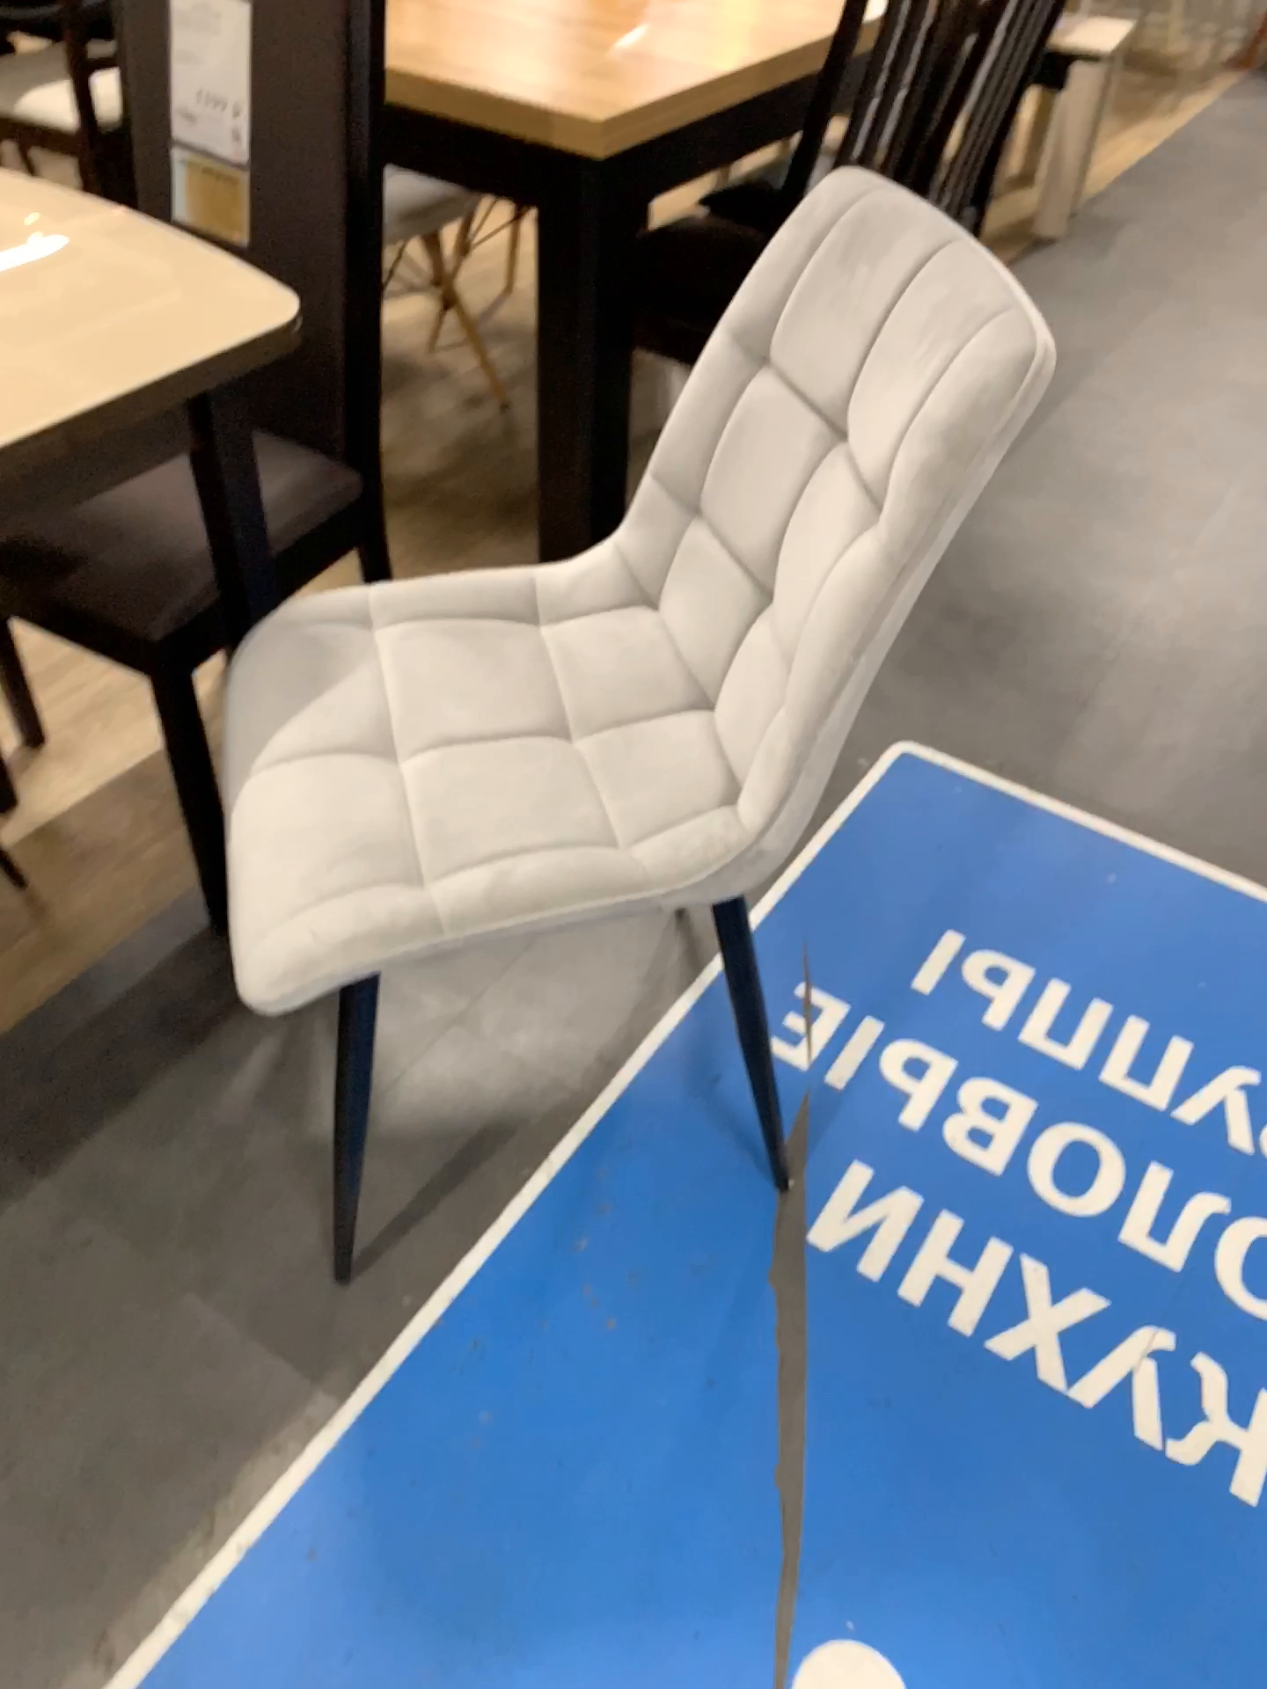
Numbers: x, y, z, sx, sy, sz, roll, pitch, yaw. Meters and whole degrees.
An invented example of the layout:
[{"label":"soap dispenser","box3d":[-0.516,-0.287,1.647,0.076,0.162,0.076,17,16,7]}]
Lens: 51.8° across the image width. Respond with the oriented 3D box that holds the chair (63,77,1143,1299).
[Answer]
[{"label":"chair","box3d":[-0.068,-0.093,1.213,0.600,0.975,0.482,-8,45,-11]}]
